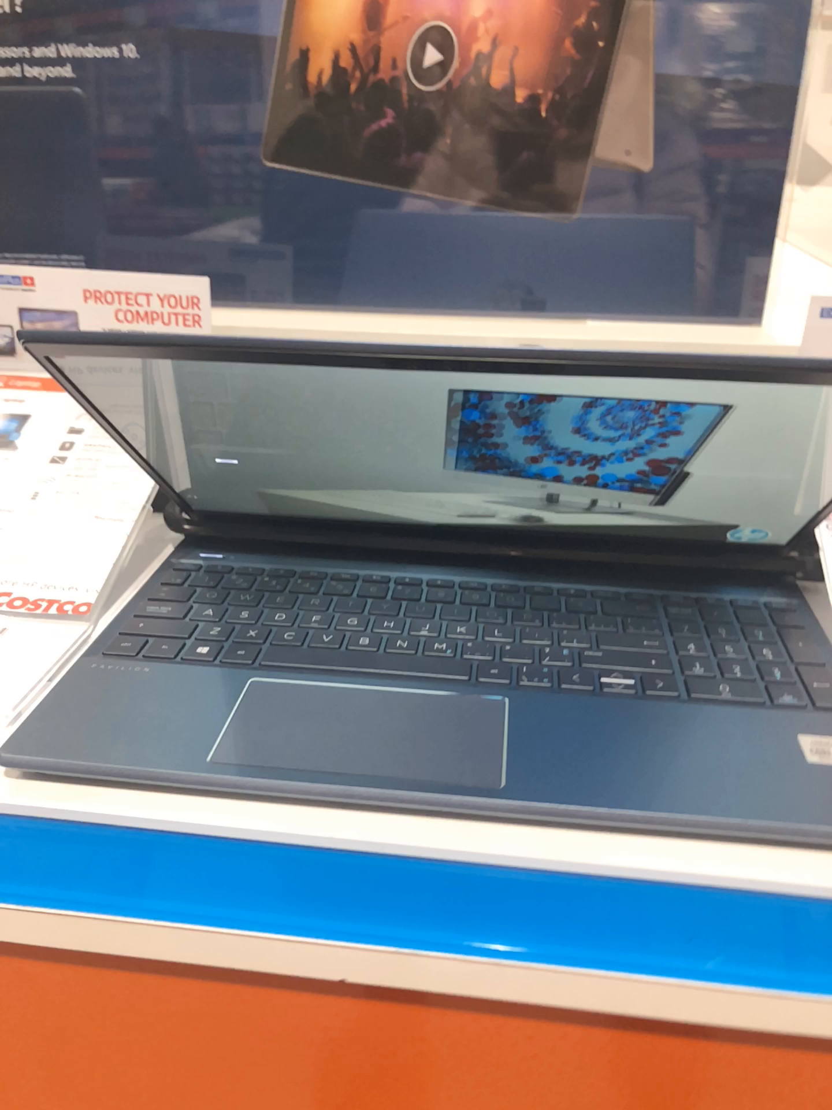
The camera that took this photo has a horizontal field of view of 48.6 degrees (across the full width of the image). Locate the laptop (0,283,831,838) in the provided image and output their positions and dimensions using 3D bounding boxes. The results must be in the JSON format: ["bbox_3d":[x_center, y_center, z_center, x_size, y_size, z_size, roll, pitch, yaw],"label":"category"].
[{"bbox_3d":[0.020,-0.024,0.412,0.346,0.149,0.218,3,25,7],"label":"laptop"}]
